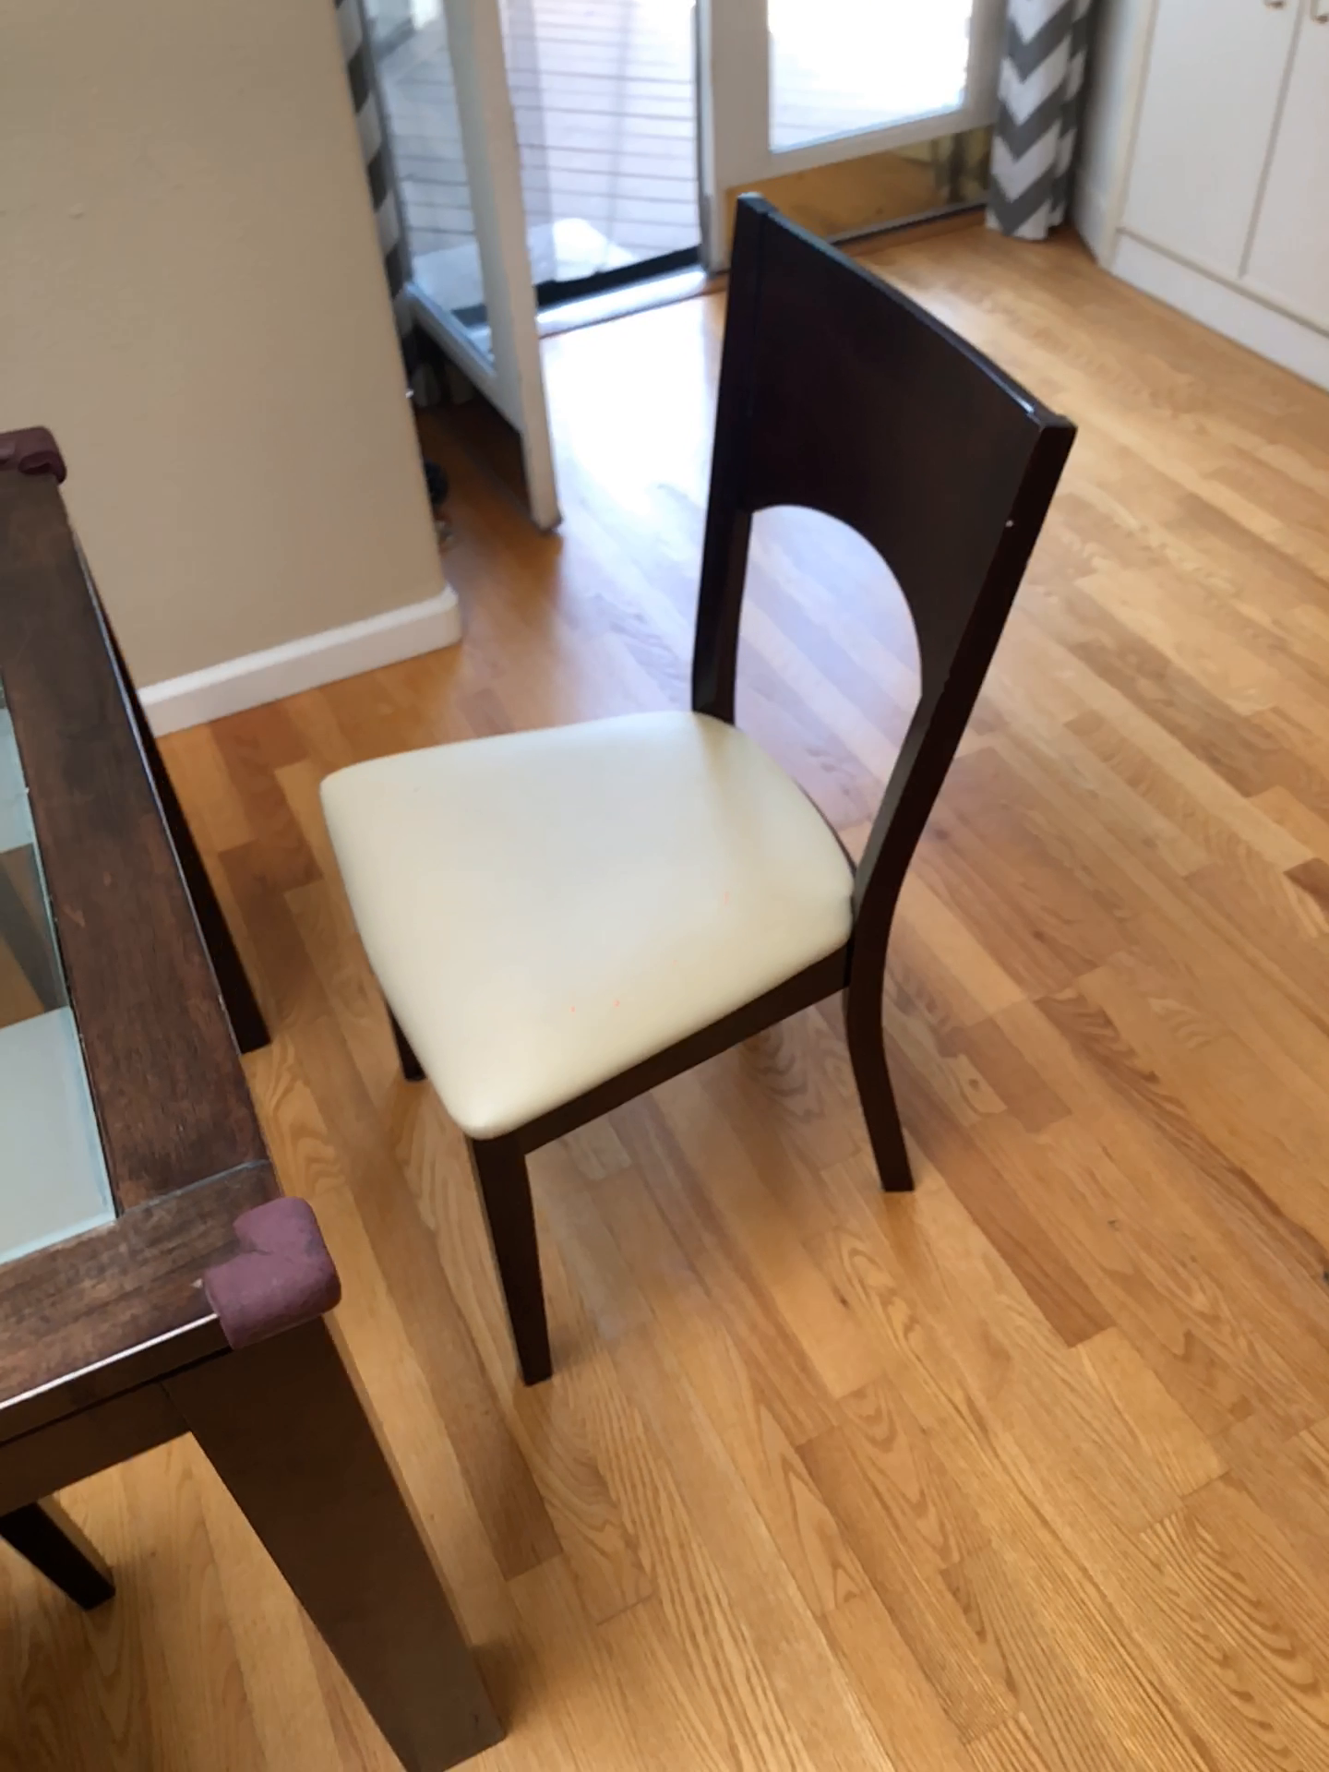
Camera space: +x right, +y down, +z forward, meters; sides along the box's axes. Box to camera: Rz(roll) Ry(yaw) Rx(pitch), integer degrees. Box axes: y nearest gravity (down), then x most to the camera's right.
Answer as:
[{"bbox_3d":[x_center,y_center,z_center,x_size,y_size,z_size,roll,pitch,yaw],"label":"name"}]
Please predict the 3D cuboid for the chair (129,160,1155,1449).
[{"bbox_3d":[-0.032,-0.043,1.420,0.590,0.995,0.563,-18,46,-14],"label":"chair"}]
